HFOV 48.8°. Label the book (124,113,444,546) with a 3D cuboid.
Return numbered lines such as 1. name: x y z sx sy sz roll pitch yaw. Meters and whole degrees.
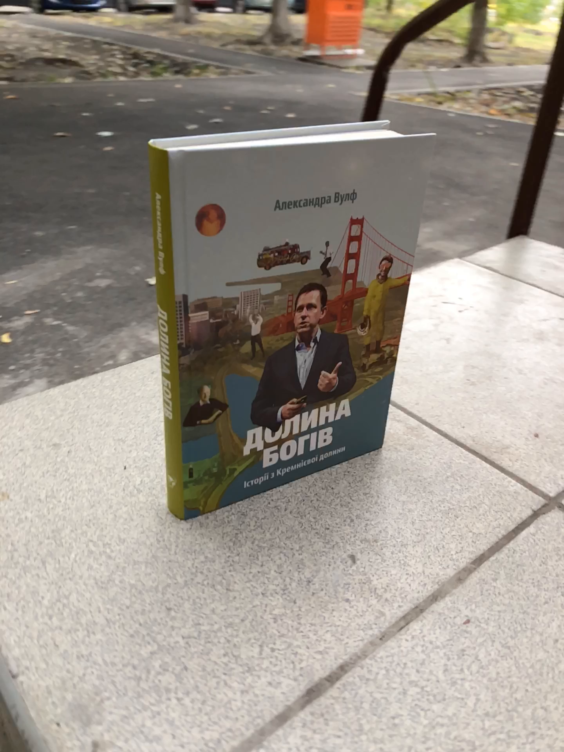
1. book: 0.006 -0.028 0.350 0.160 0.208 0.044 -20 36 -32
